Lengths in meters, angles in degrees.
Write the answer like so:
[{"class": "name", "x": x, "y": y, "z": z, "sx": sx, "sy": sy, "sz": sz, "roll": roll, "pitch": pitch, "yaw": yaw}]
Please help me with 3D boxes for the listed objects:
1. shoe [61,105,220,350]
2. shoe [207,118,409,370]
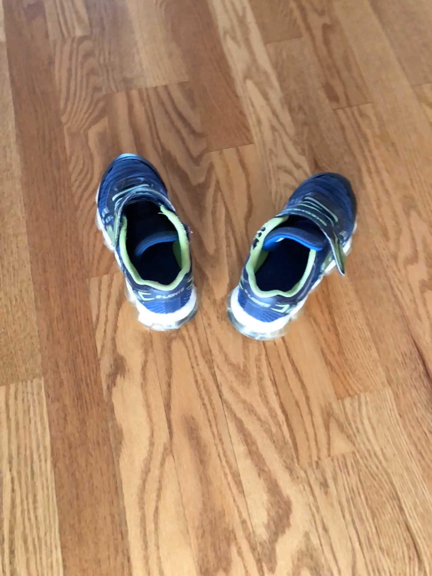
[{"class": "shoe", "x": -0.073, "y": -0.059, "z": 0.465, "sx": 0.093, "sy": 0.095, "sz": 0.203, "roll": -16, "pitch": 70, "yaw": -8}, {"class": "shoe", "x": 0.087, "y": -0.044, "z": 0.459, "sx": 0.093, "sy": 0.087, "sz": 0.212, "roll": 30, "pitch": 71, "yaw": 10}]
